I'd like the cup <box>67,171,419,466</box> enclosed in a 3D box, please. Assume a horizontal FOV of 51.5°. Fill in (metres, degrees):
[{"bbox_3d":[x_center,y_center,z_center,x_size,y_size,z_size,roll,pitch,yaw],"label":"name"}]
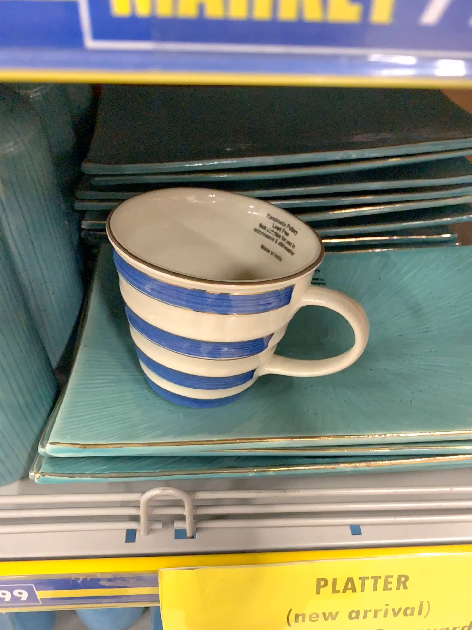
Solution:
[{"bbox_3d":[0.005,-0.006,0.252,0.140,0.080,0.100,14,35,5],"label":"cup"}]
